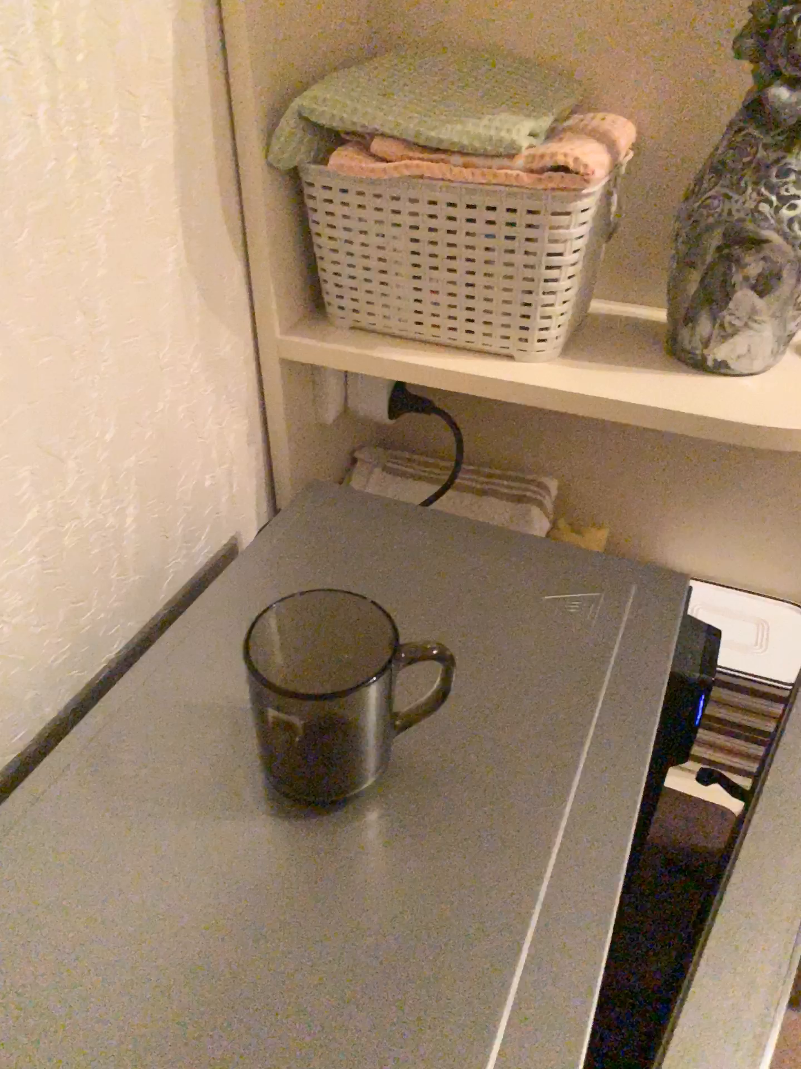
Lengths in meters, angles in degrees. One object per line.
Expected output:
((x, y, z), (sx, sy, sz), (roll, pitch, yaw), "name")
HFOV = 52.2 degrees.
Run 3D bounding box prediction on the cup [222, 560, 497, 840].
((-0.022, 0.077, 0.398), (0.110, 0.079, 0.081), (-9, 37, -13), "cup")
